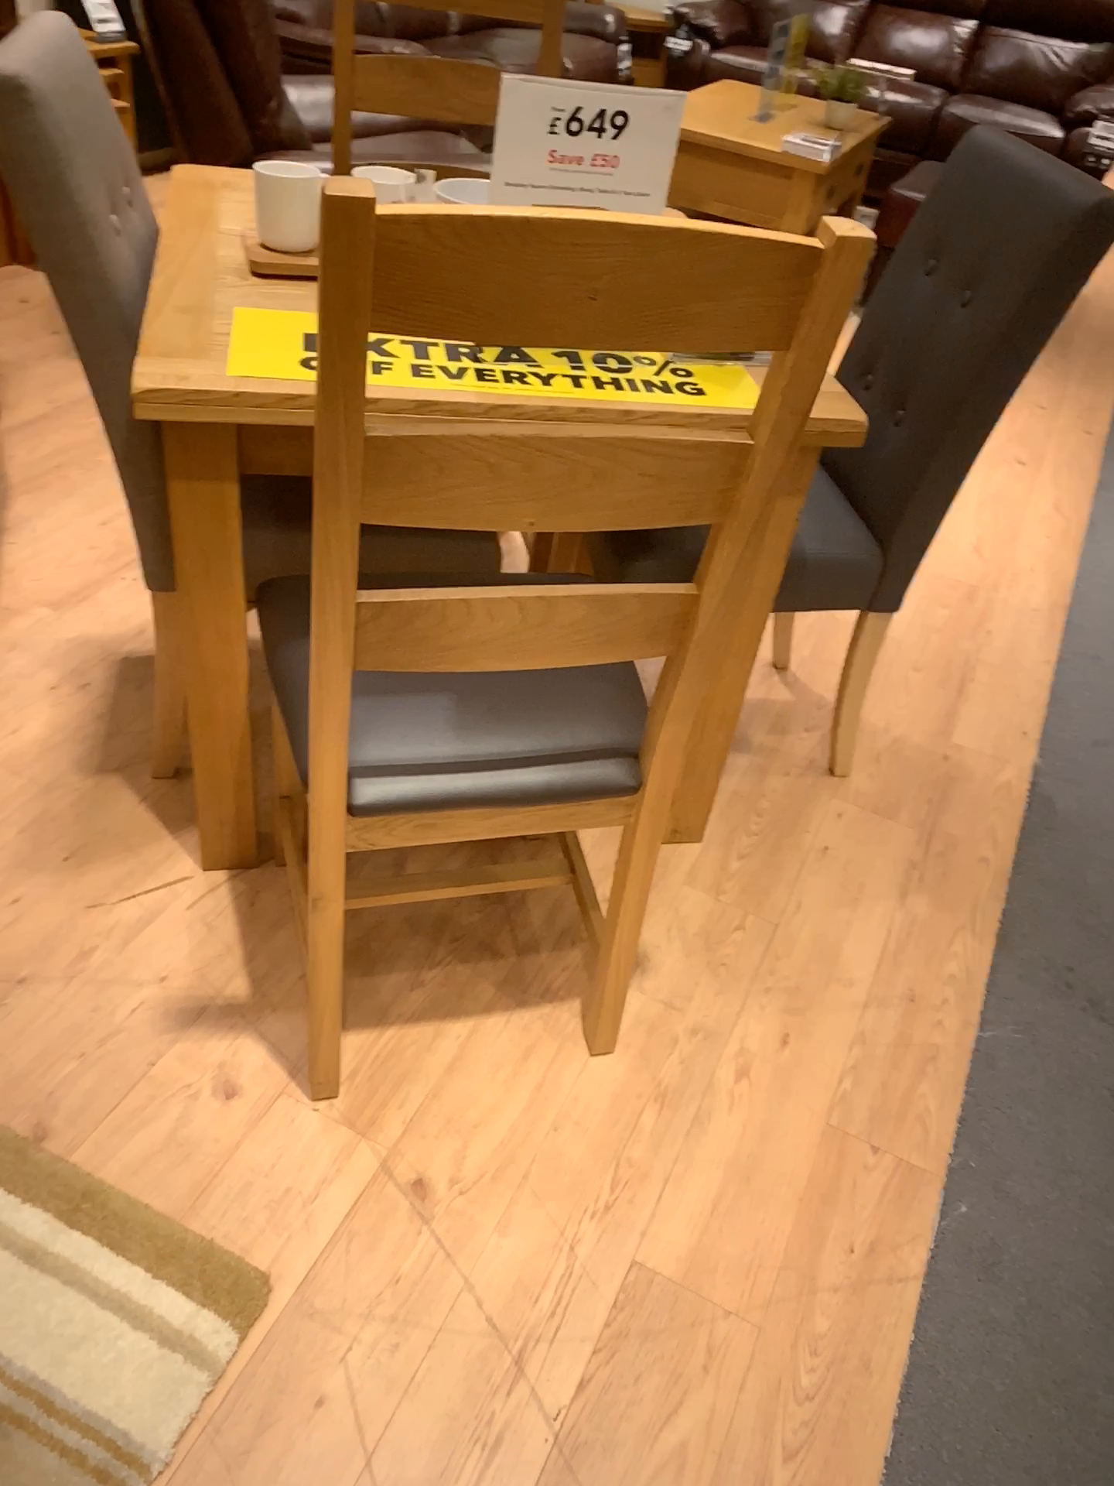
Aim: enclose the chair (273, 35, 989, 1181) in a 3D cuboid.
[{"bbox_3d":[-0.058,-0.086,1.280,0.470,1.099,0.555,-2,40,-15],"label":"chair"}]
